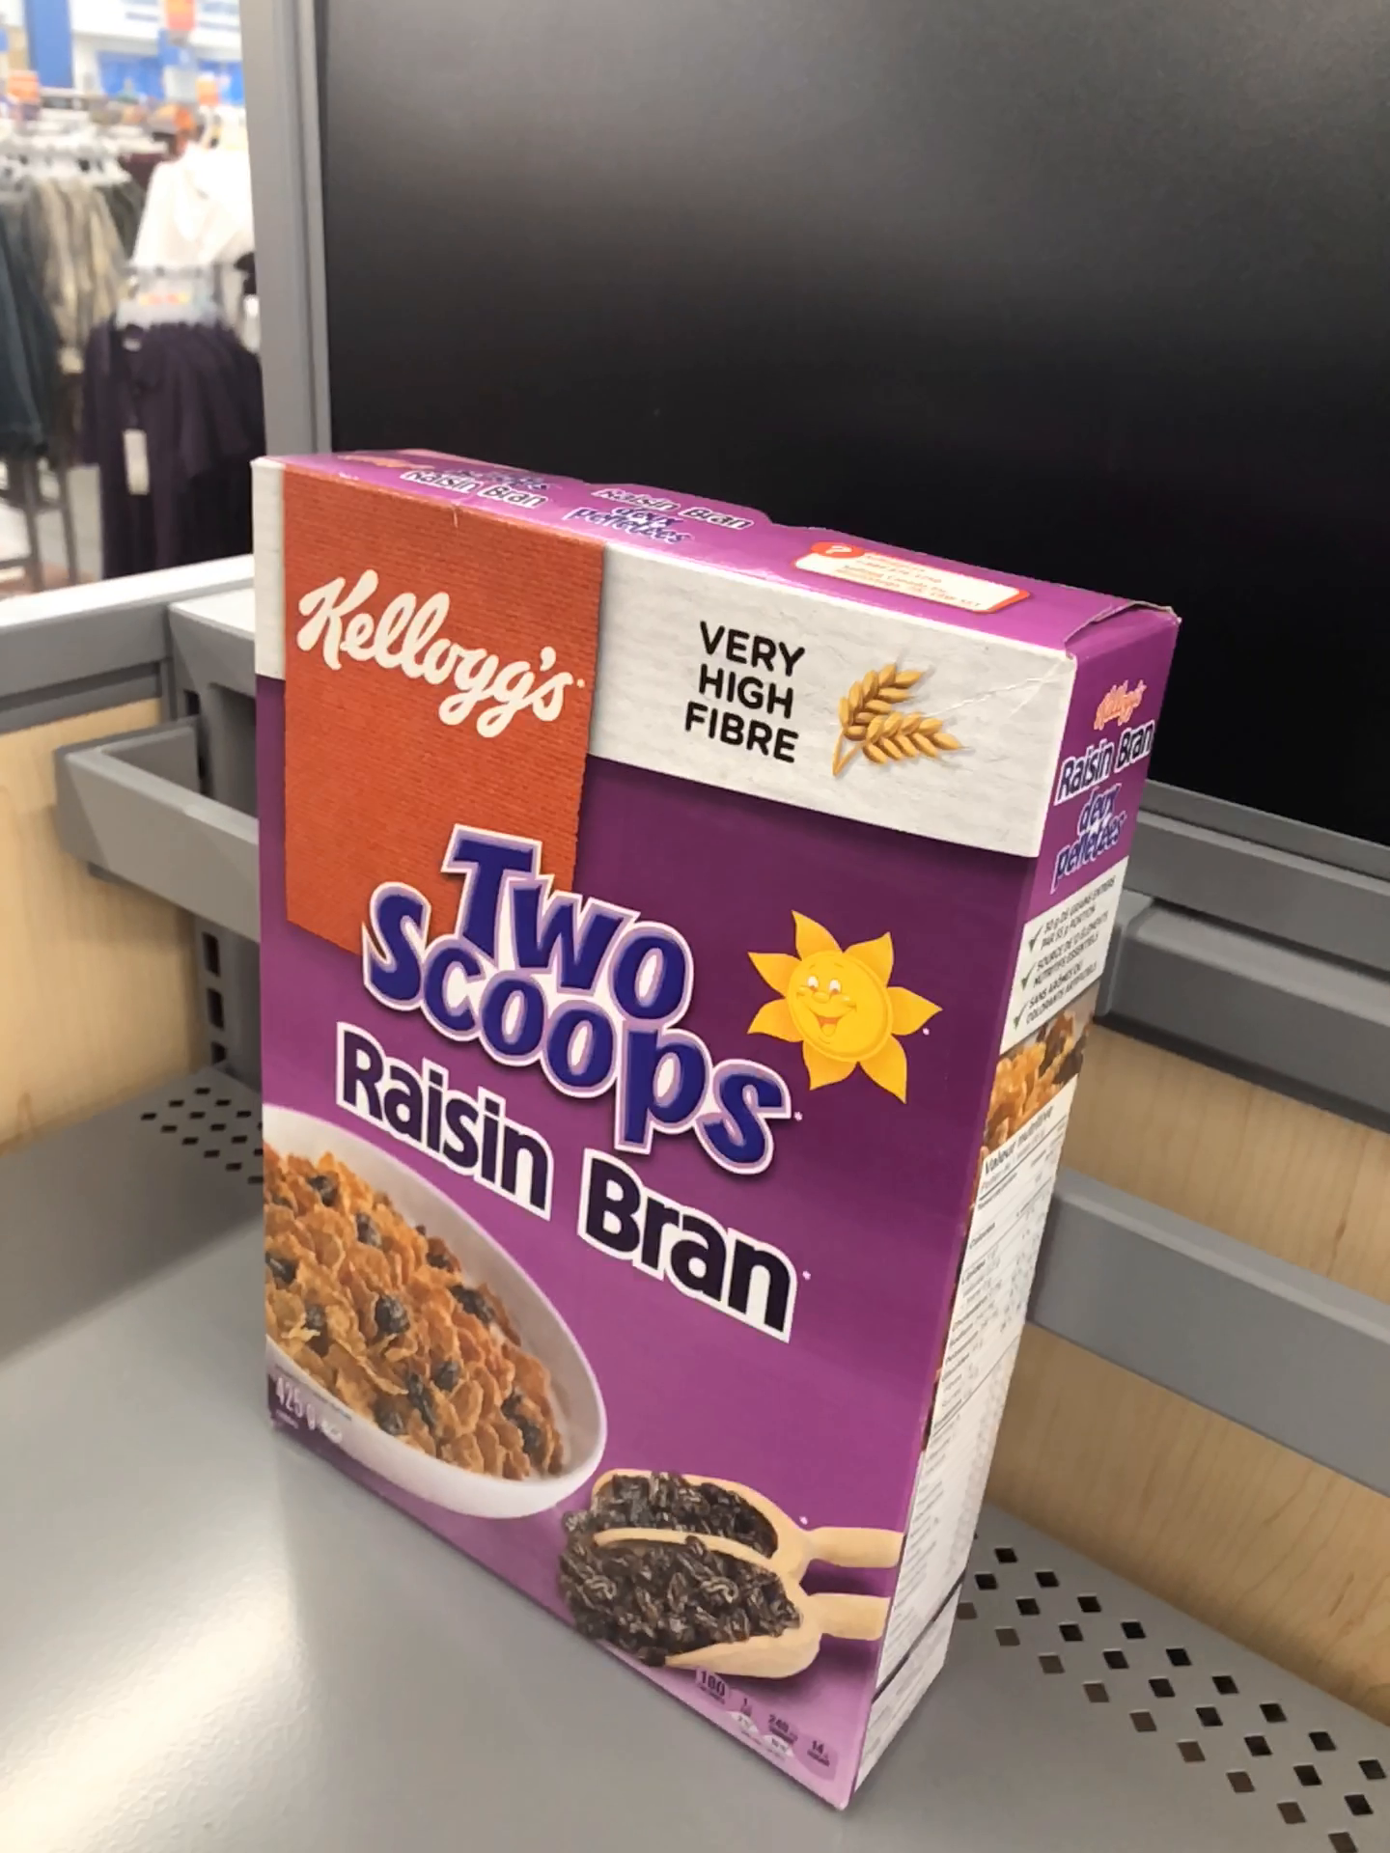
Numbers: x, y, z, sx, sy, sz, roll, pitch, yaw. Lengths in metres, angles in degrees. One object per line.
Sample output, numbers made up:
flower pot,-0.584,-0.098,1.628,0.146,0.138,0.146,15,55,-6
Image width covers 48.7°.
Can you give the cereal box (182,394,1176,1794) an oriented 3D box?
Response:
cereal box,-0.028,0.031,0.361,0.211,0.268,0.050,21,27,29
